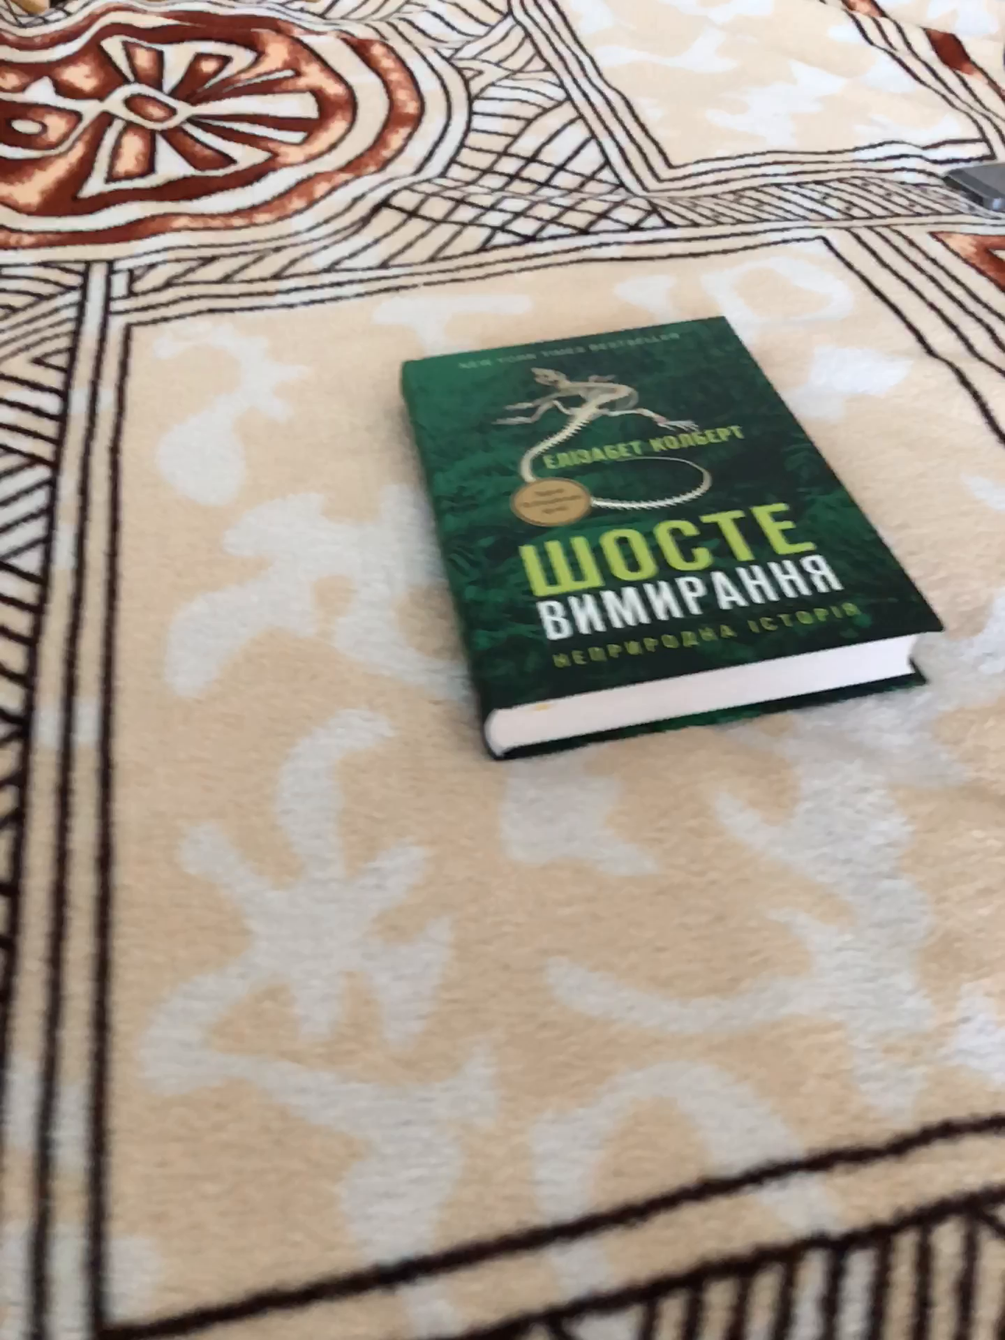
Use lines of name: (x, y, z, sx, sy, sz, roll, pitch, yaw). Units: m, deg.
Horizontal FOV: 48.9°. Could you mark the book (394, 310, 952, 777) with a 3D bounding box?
book: (0.047, -0.065, 0.425, 0.150, 0.030, 0.221, -10, 44, -5)
